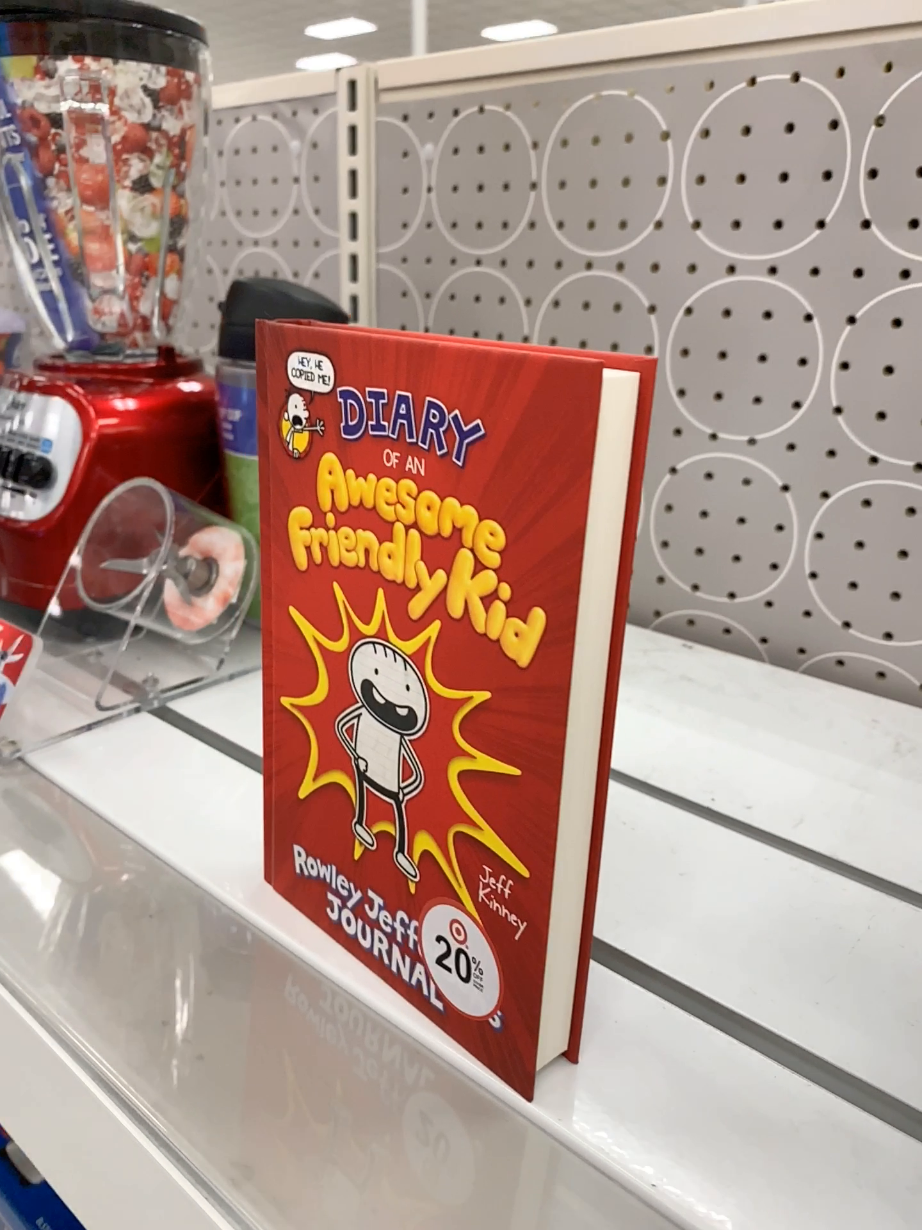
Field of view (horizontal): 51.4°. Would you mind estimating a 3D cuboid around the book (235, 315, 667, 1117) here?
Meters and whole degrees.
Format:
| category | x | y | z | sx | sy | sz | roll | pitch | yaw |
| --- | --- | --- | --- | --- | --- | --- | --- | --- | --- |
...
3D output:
| category | x | y | z | sx | sy | sz | roll | pitch | yaw |
| --- | --- | --- | --- | --- | --- | --- | --- | --- | --- |
| book | -0.017 | 0.021 | 0.295 | 0.030 | 0.209 | 0.140 | -14 | 25 | -43 |
